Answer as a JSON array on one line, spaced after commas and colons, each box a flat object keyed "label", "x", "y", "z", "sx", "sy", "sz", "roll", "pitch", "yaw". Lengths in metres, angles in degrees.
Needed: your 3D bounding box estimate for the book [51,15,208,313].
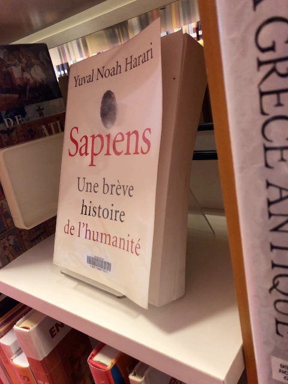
[{"label": "book", "x": -0.028, "y": -0.027, "z": 0.341, "sx": 0.052, "sy": 0.244, "sz": 0.178, "roll": 2, "pitch": 3, "yaw": -43}]
